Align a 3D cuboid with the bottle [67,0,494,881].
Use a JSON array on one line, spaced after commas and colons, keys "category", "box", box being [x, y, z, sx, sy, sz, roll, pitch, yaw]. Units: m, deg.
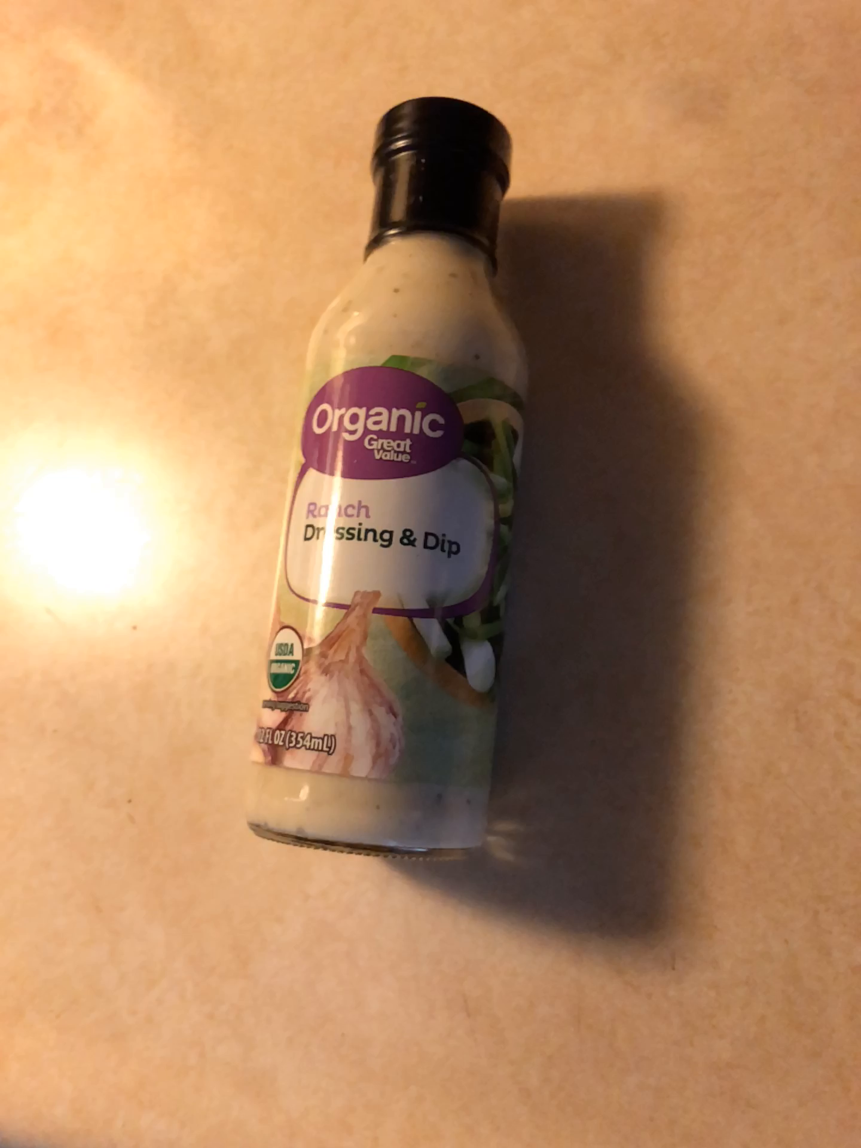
[{"category": "bottle", "box": [-0.030, -0.040, 0.266, 0.070, 0.060, 0.230, 3, 75, 10]}]
